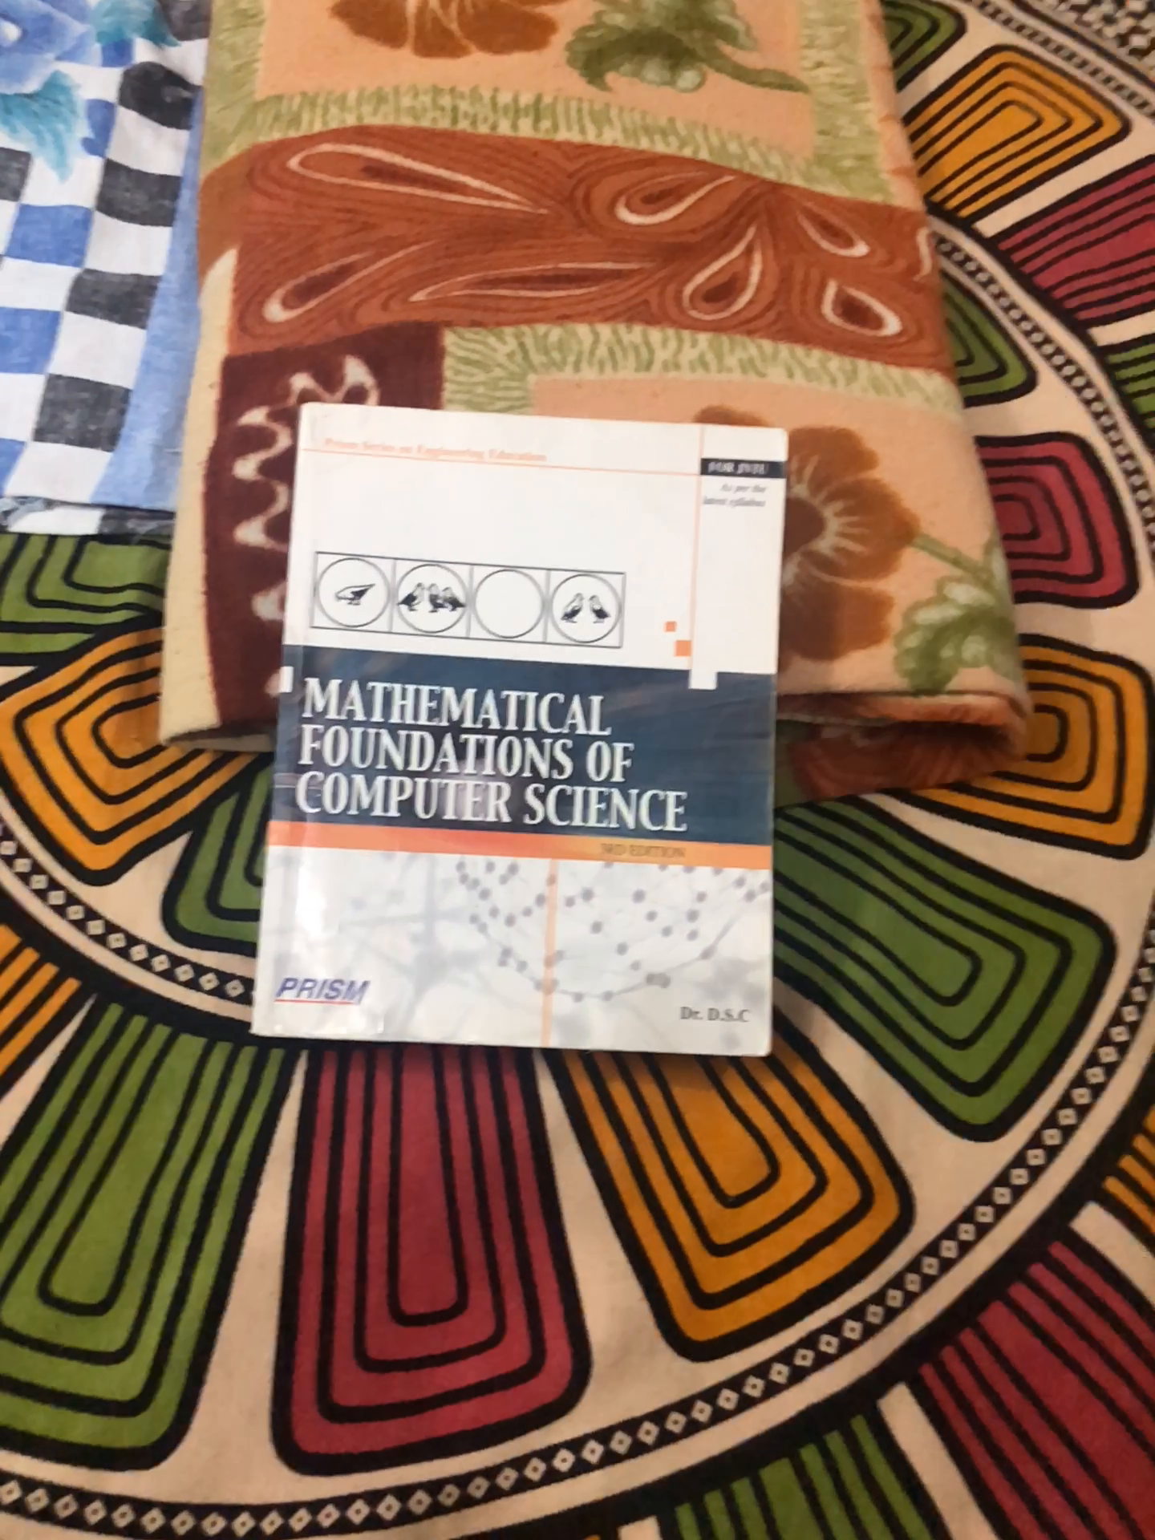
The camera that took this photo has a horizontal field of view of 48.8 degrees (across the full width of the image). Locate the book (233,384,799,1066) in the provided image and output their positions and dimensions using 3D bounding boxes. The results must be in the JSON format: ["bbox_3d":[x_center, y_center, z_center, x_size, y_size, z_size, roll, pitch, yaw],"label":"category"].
[{"bbox_3d":[-0.017,-0.016,0.480,0.190,0.060,0.240,2,79,-2],"label":"book"}]
